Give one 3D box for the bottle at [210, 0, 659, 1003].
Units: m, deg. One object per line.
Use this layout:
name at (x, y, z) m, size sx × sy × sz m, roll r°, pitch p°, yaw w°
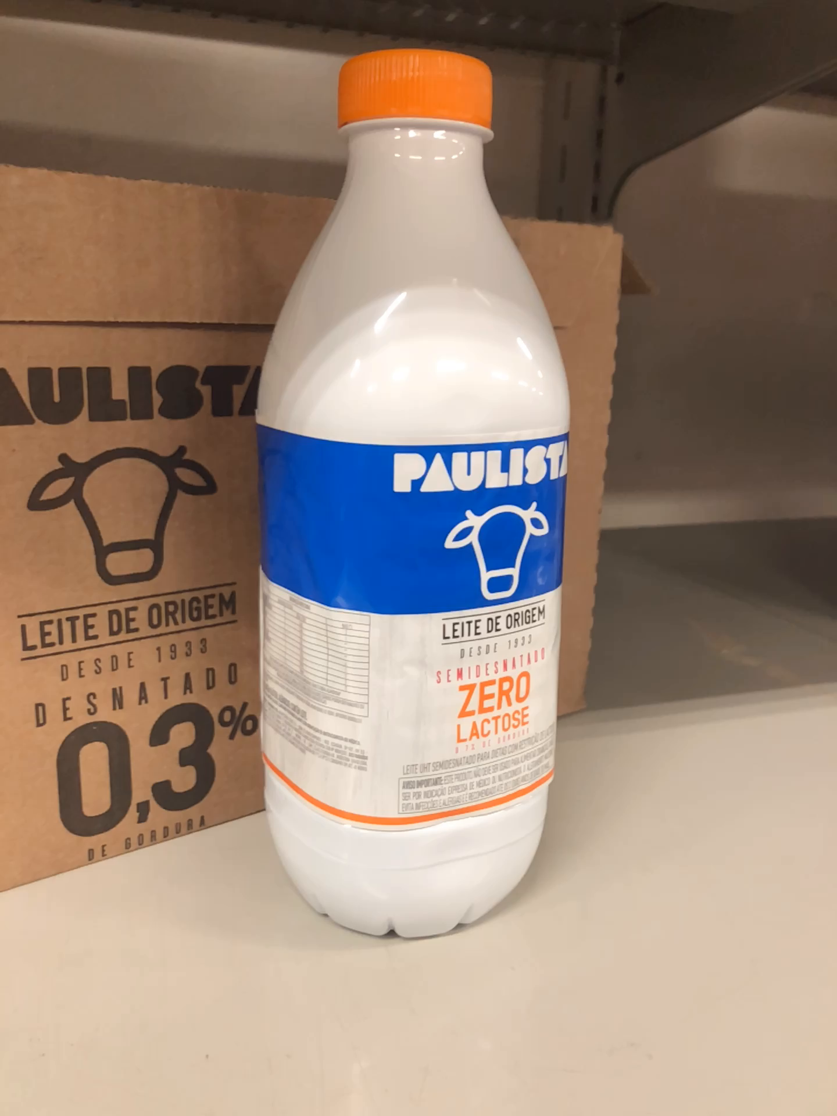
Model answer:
bottle at (-0.001, -0.015, 0.257) m, size 0.080 × 0.229 × 0.080 m, roll 1°, pitch 14°, yaw 0°
